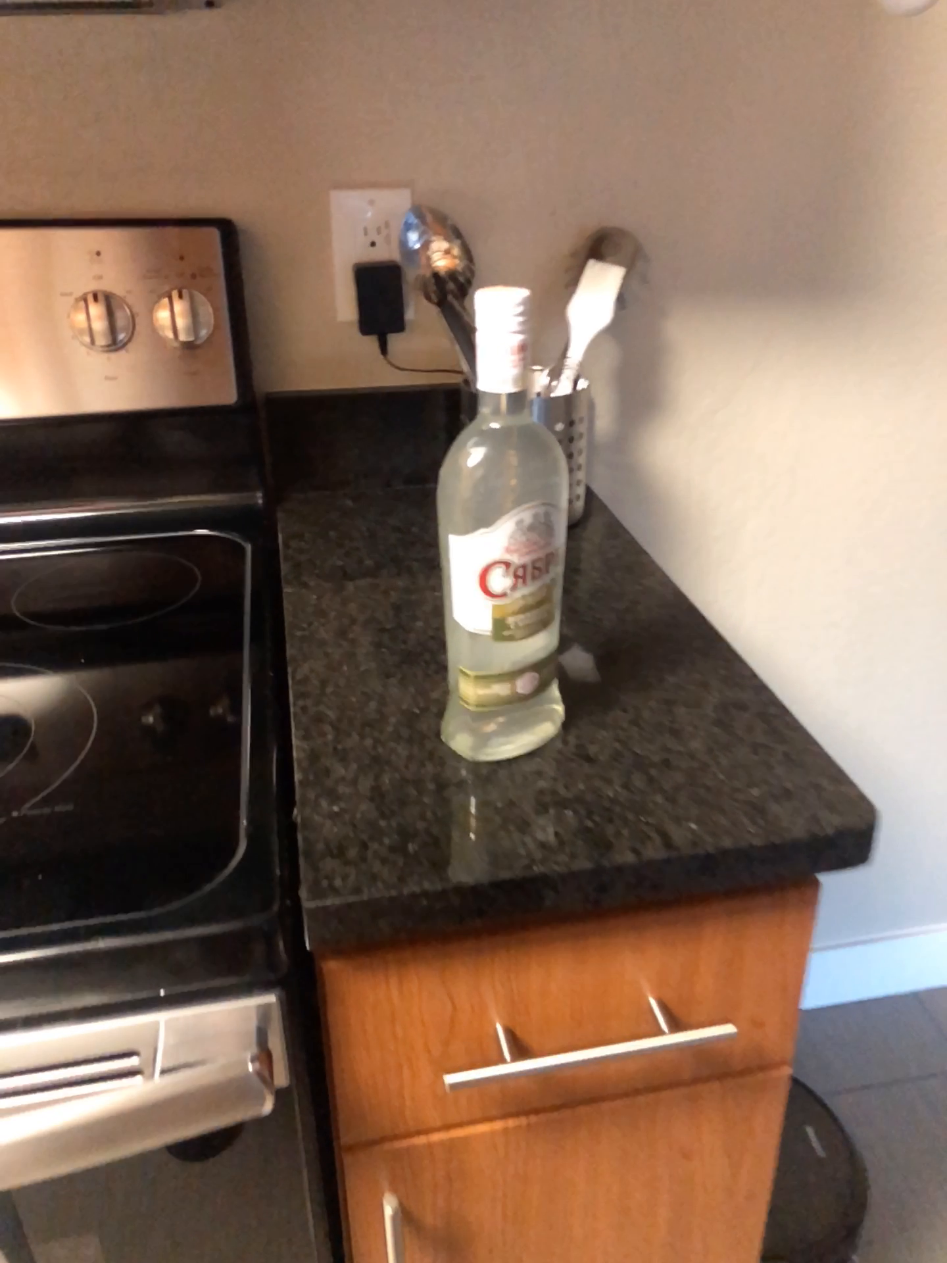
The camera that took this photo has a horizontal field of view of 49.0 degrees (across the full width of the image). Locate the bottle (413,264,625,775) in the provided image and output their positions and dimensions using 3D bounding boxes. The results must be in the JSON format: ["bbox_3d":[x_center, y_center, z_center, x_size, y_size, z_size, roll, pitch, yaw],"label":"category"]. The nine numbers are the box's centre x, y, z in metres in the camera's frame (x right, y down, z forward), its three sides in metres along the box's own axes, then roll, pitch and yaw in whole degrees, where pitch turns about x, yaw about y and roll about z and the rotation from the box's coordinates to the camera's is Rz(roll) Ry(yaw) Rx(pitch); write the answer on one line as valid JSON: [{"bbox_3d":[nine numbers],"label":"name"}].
[{"bbox_3d":[0.024,-0.060,0.588,0.090,0.269,0.060,-15,30,-27],"label":"bottle"}]
